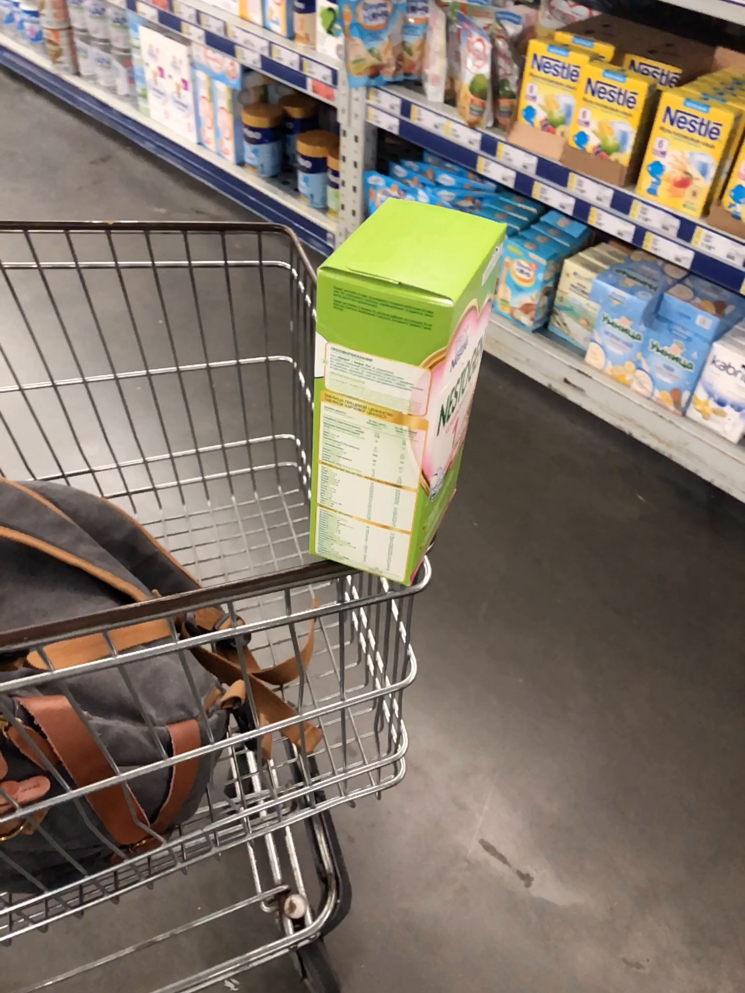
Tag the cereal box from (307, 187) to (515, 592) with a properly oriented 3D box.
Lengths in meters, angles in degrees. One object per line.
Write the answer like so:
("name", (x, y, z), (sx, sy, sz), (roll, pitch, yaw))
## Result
("cereal box", (0.017, -0.055, 0.458), (0.070, 0.189, 0.101), (17, 43, 12))
